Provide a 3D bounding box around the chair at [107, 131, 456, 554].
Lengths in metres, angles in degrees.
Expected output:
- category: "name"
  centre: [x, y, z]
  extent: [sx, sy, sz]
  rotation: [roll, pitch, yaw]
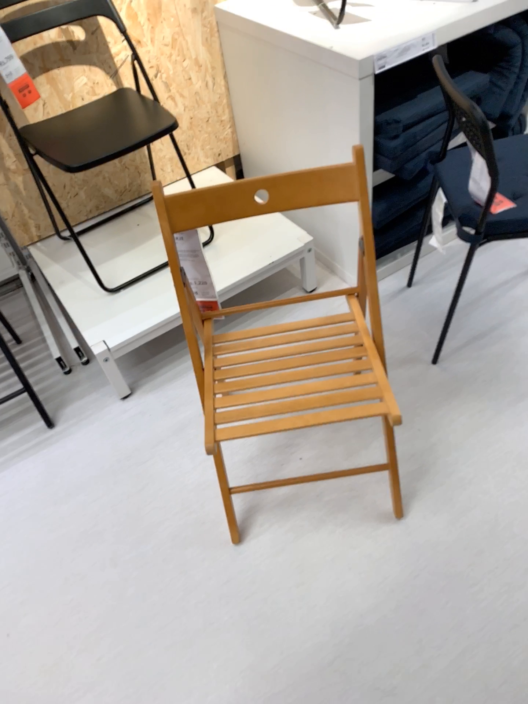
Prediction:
- category: "chair"
  centre: [0.039, 0.005, 1.211]
  extent: [0.510, 0.697, 0.562]
  rotation: [-10, 47, 1]
